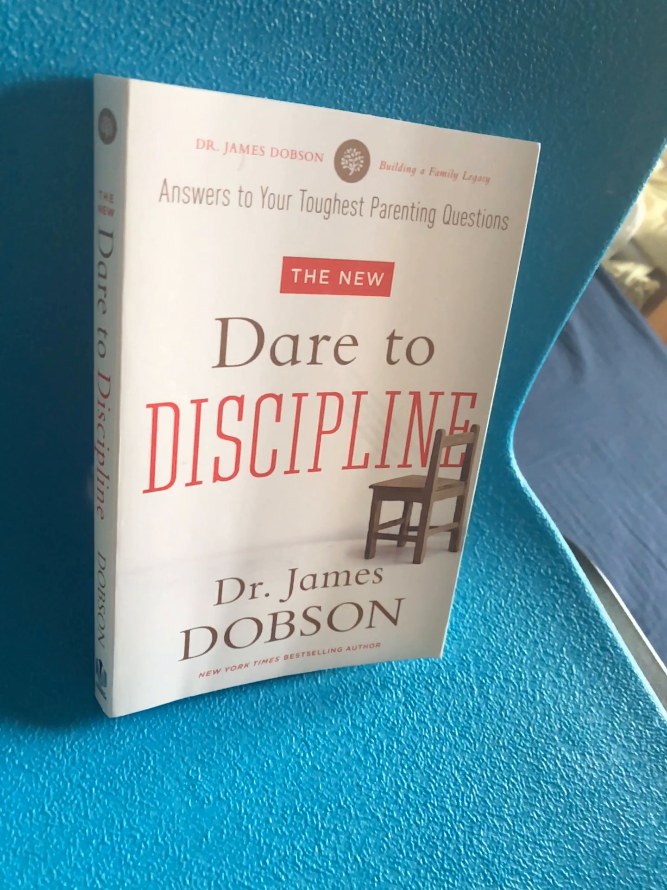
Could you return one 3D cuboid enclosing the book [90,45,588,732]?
[{"bbox_3d":[-0.003,-0.012,0.257,0.150,0.199,0.040,-3,20,-25],"label":"book"}]
